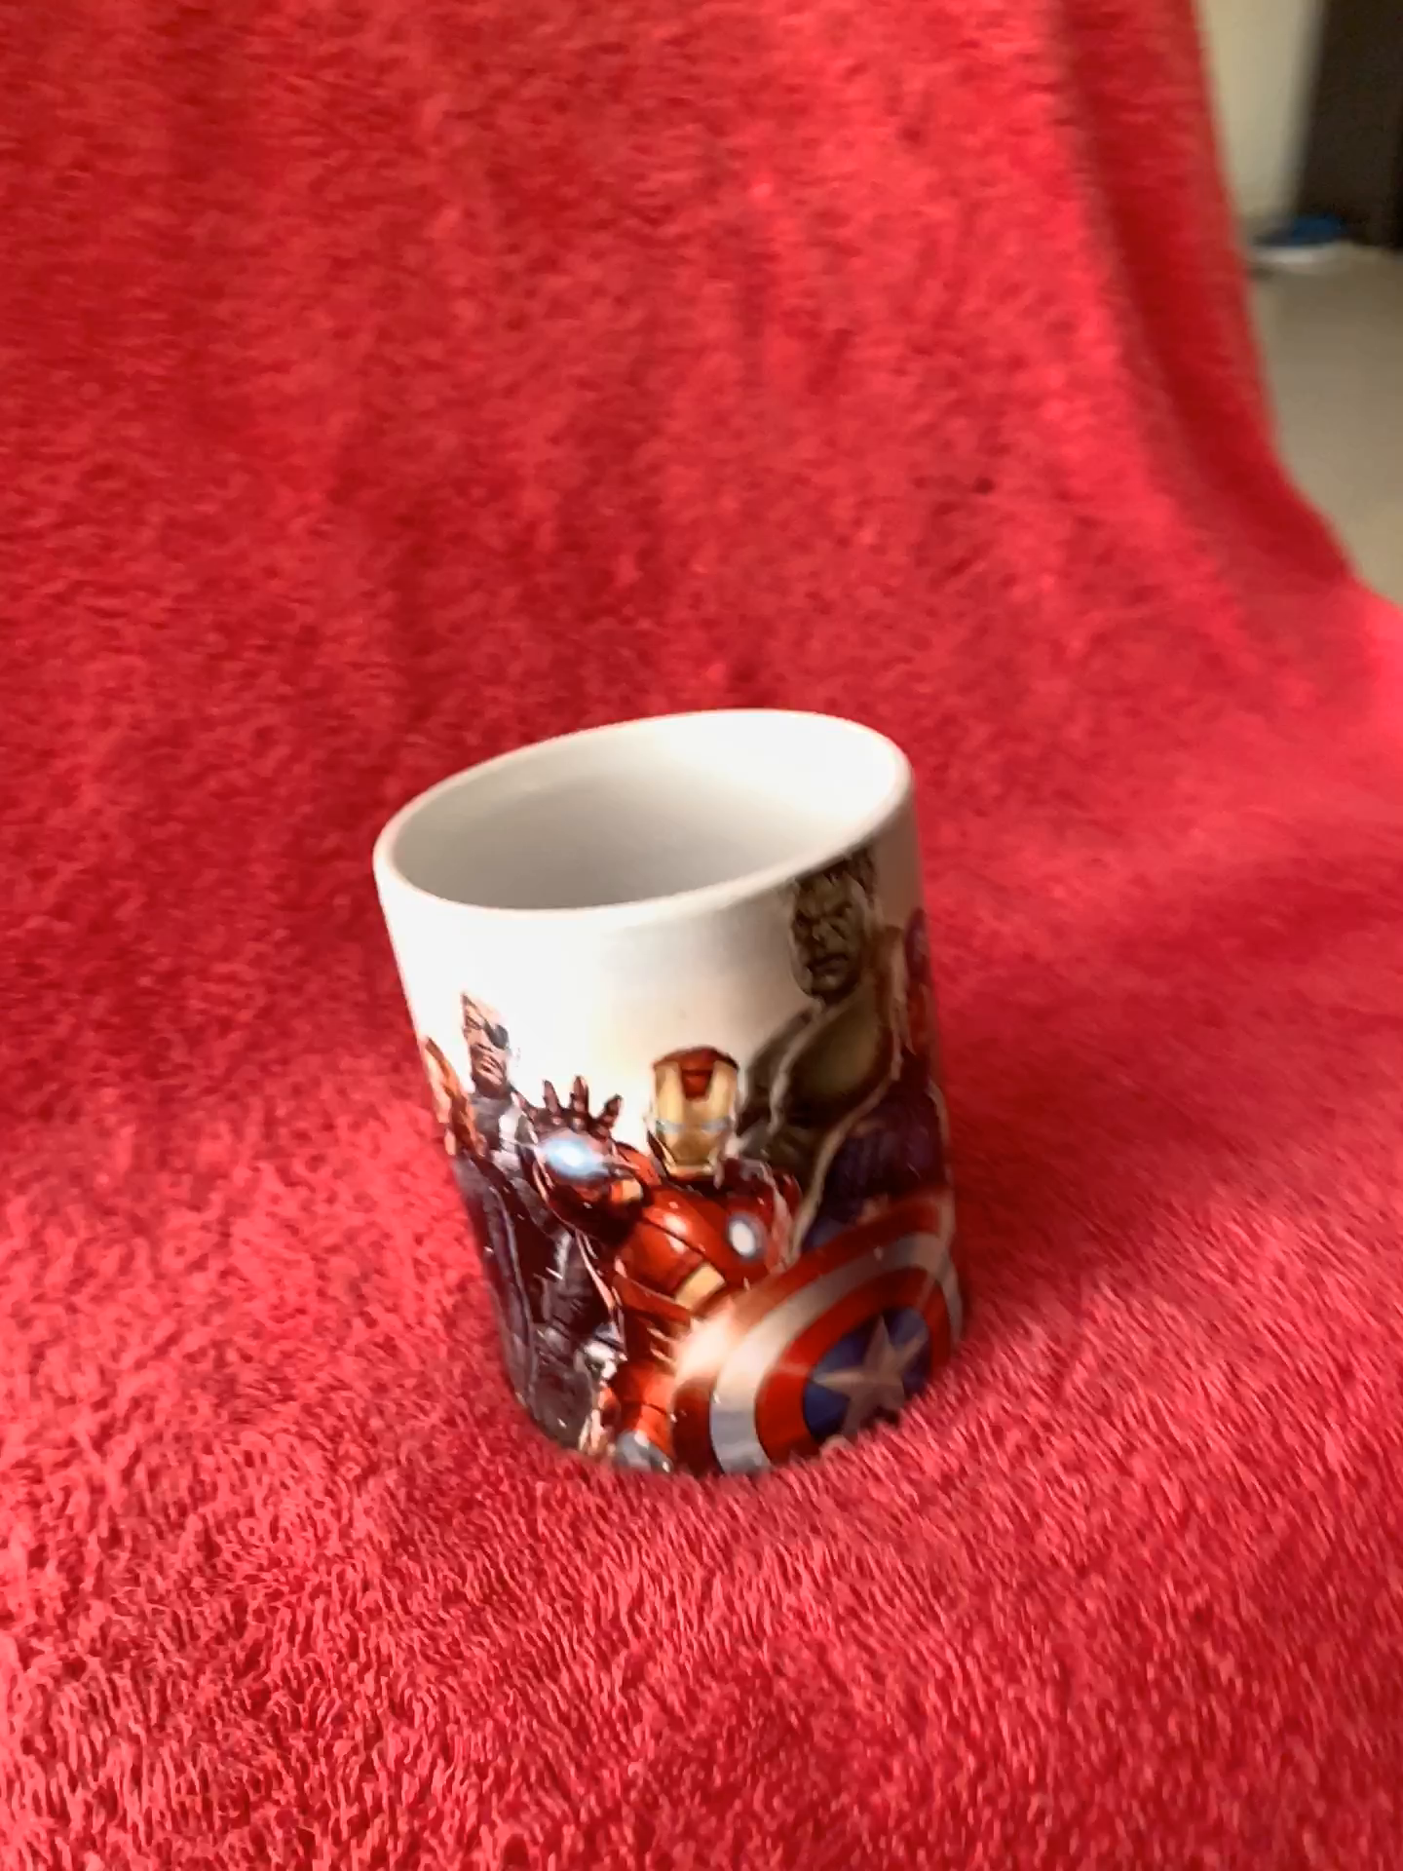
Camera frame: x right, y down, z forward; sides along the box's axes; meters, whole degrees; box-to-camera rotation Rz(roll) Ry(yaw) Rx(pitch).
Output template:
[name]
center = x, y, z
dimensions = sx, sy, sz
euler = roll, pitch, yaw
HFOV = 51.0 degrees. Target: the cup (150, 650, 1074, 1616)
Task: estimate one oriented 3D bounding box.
[cup]
center = -0.018, 0.016, 0.240
dimensions = 0.090, 0.089, 0.121
euler = -19, 28, -30
